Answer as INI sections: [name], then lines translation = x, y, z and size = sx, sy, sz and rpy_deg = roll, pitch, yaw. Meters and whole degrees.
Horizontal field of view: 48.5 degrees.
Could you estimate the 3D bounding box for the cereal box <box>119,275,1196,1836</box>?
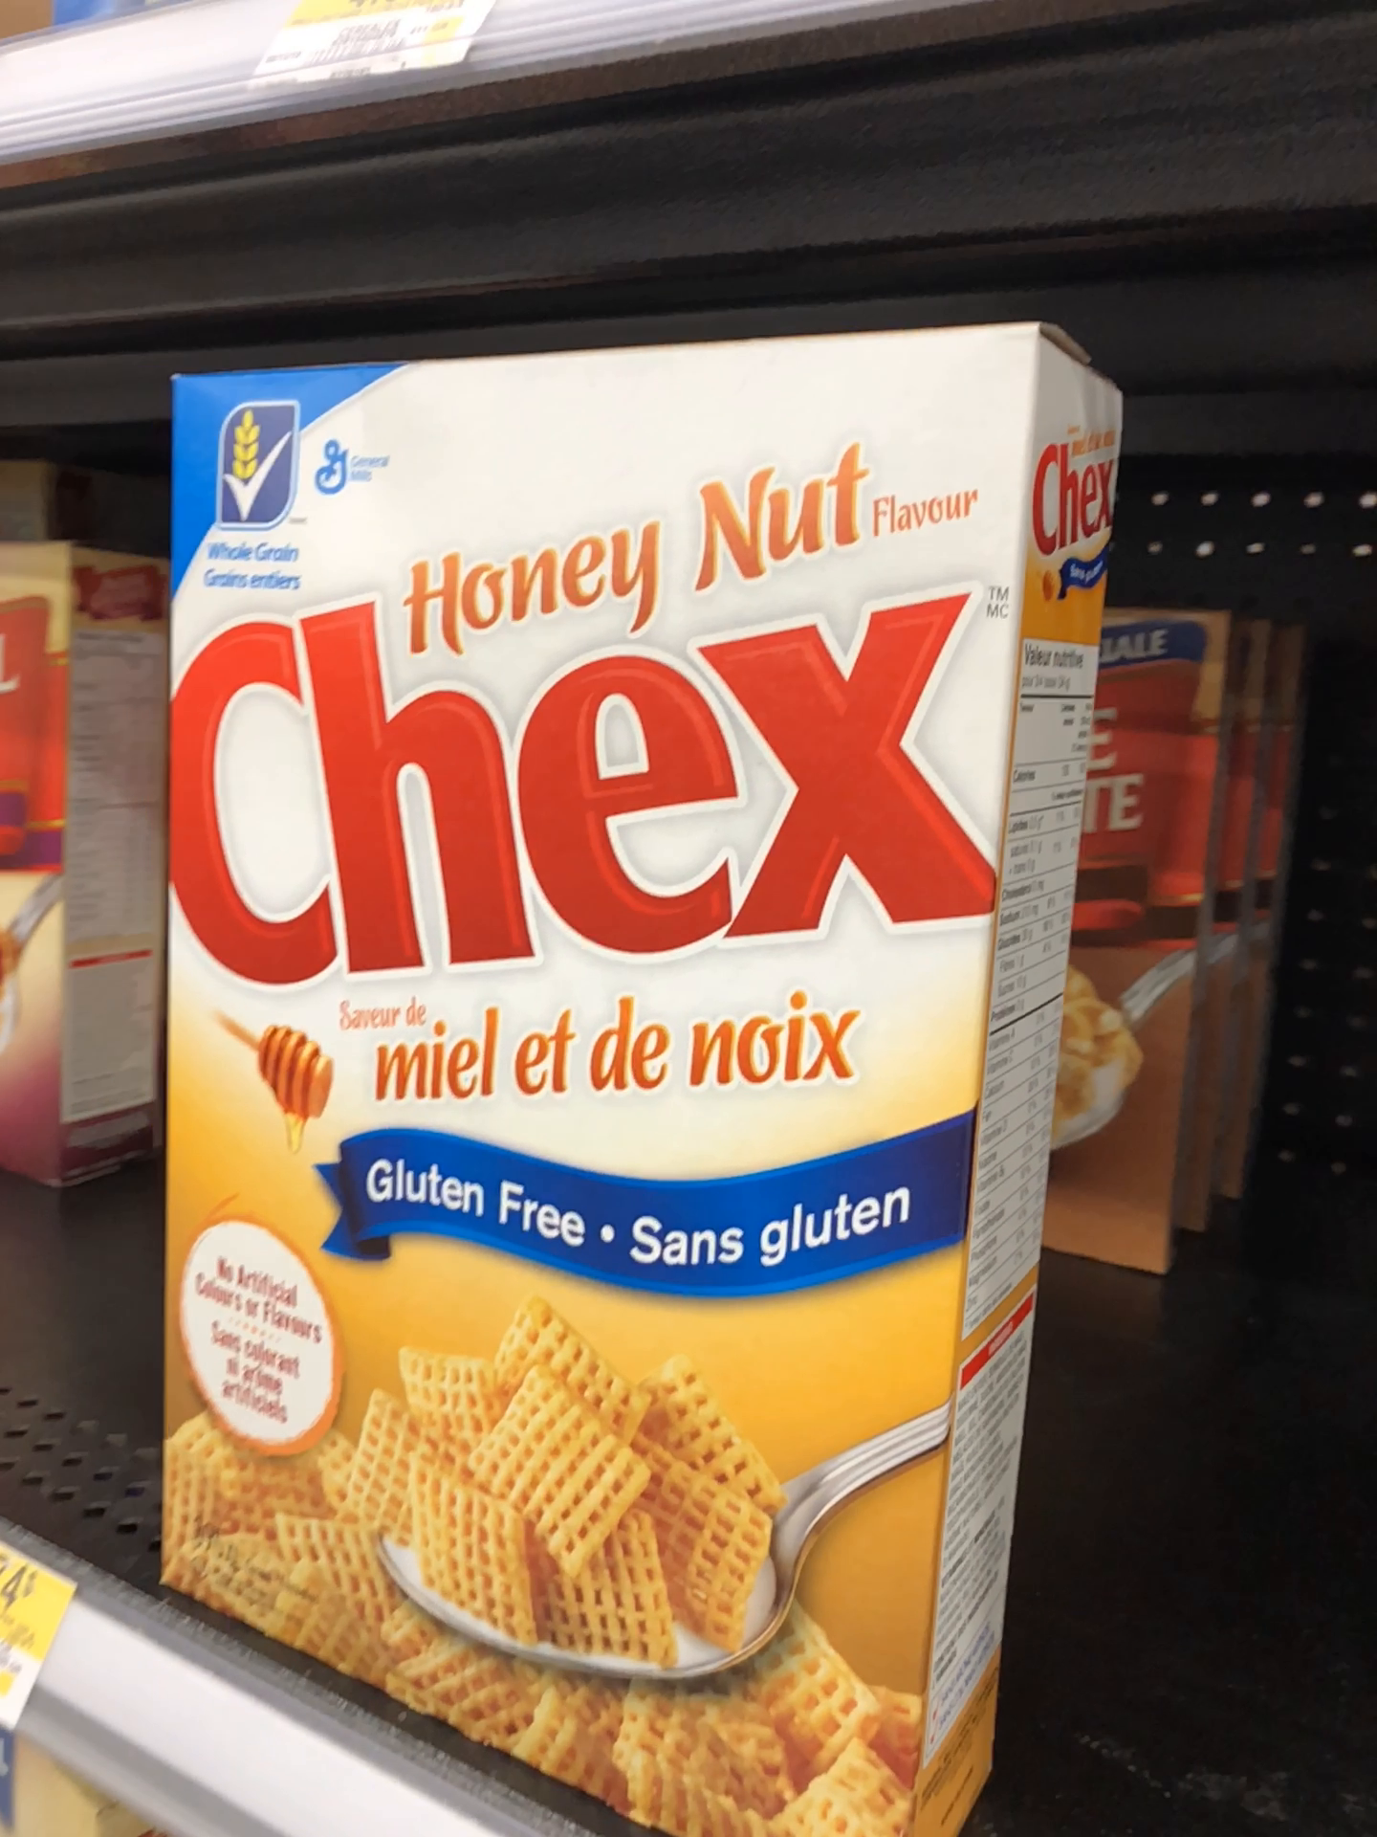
[cereal box]
translation = -0.024, 0.027, 0.315
size = 0.210, 0.279, 0.050
rpy_deg = 9, 10, 30
